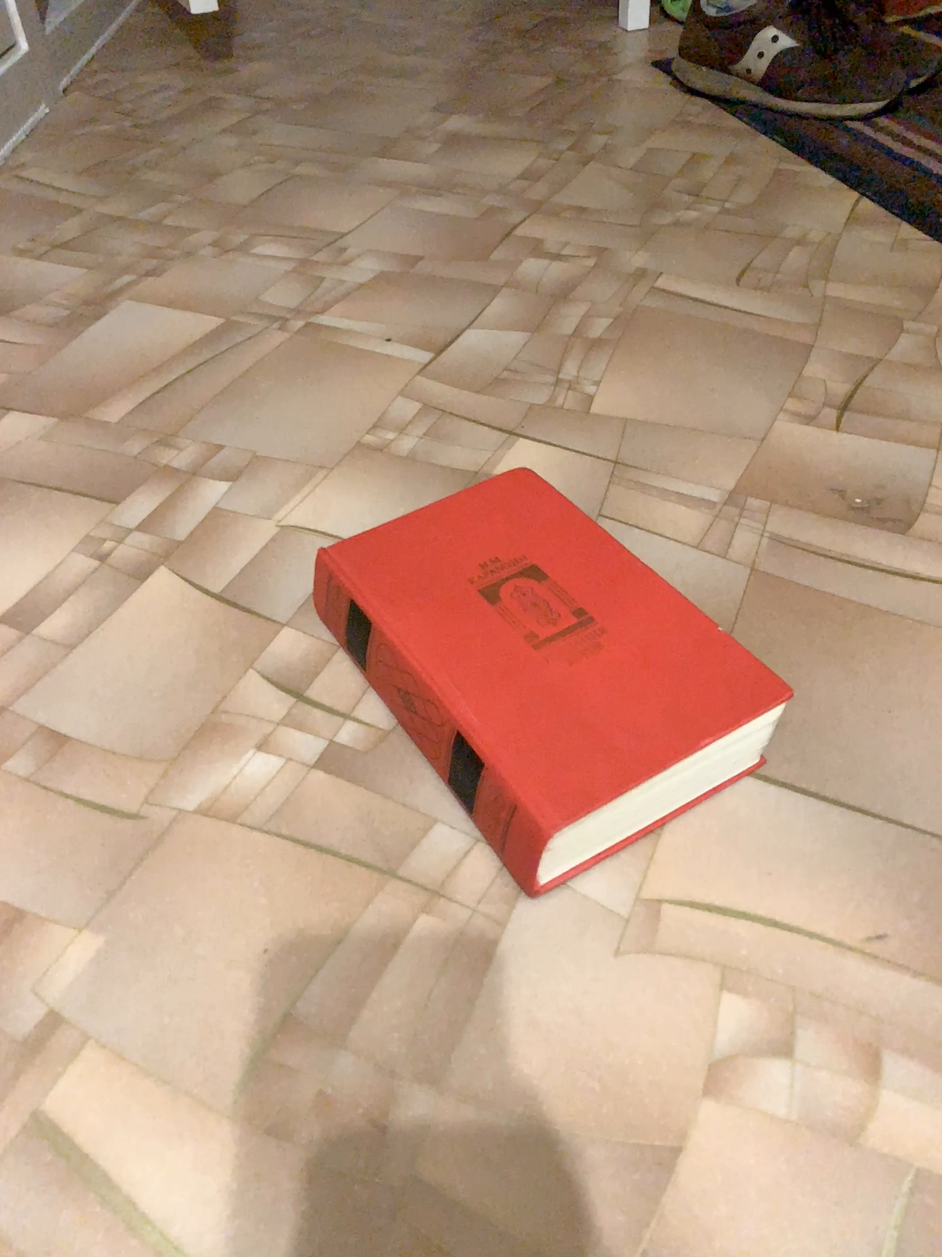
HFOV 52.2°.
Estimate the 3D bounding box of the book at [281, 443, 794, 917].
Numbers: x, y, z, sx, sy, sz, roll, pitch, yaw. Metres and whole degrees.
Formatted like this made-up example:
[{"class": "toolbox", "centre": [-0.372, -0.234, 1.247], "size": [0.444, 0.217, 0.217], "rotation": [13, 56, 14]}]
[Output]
[{"class": "book", "centre": [0.021, 0.007, 0.446], "size": [0.140, 0.050, 0.201], "rotation": [-26, 49, -18]}]
